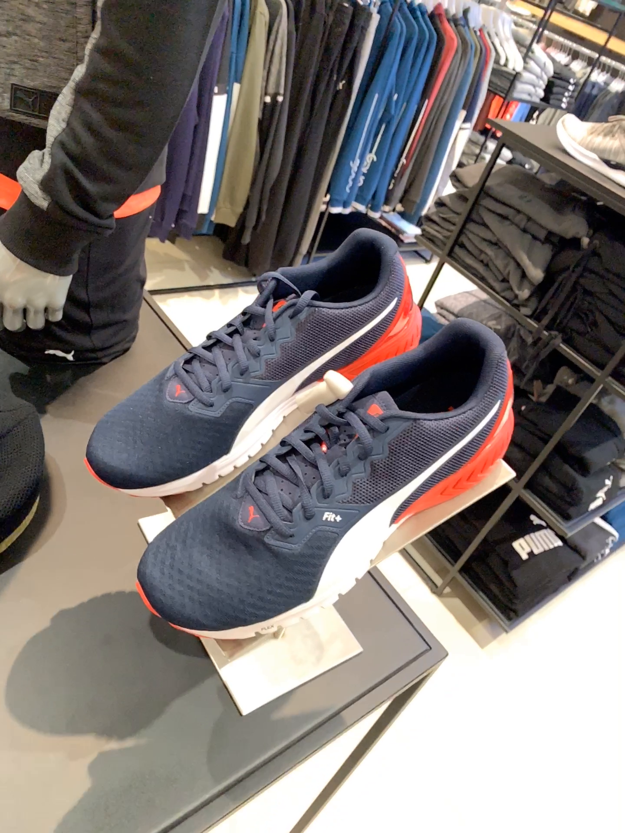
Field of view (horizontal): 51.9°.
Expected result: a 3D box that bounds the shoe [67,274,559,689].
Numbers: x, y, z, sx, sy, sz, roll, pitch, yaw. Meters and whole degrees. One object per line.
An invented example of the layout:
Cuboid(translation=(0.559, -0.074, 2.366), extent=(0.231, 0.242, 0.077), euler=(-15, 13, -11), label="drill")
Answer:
Cuboid(translation=(0.008, 0.032, 0.394), extent=(0.261, 0.099, 0.100), euler=(-31, 58, -17), label="shoe")

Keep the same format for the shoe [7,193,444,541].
Cuboid(translation=(-0.046, -0.041, 0.423), extent=(0.251, 0.079, 0.100), euler=(-31, 58, -17), label="shoe")
